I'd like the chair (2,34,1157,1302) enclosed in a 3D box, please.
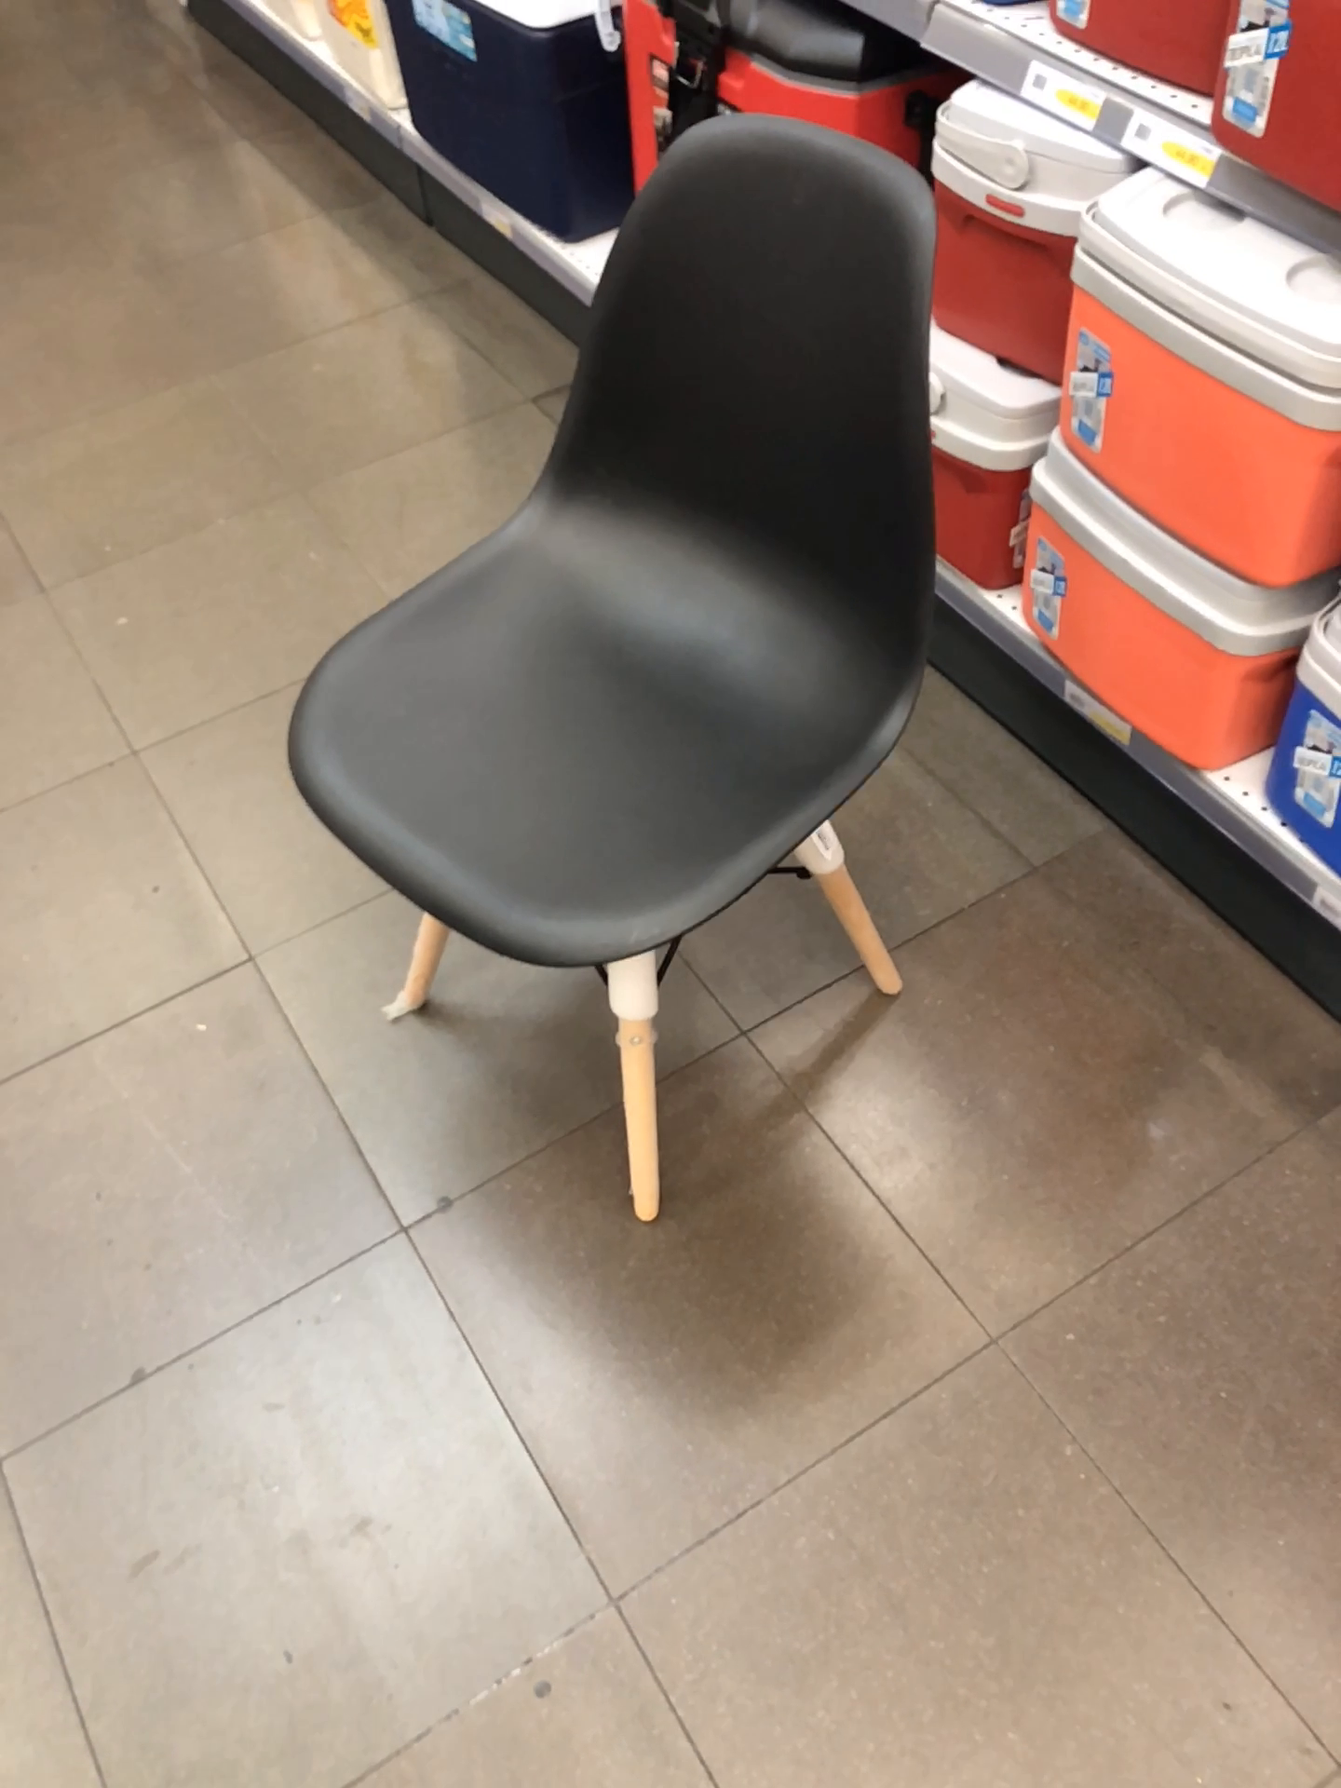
[{"bbox_3d":[-0.037,-0.173,1.218,0.552,0.725,0.502,-38,57,-25],"label":"chair"}]
